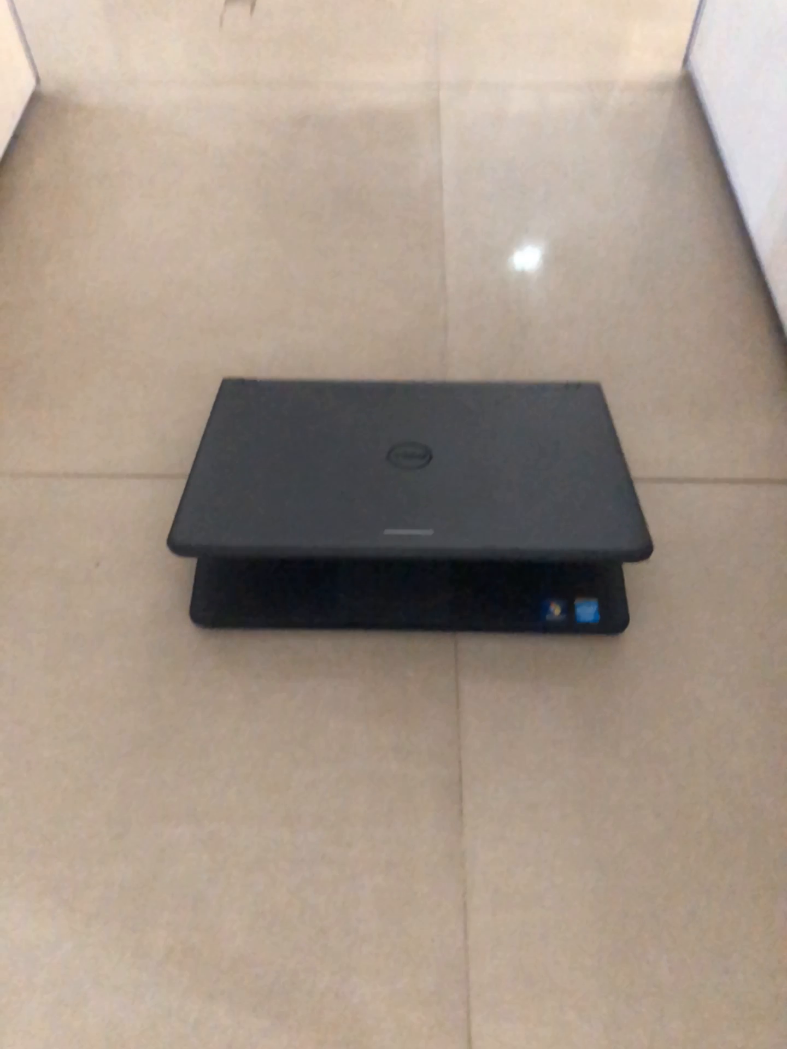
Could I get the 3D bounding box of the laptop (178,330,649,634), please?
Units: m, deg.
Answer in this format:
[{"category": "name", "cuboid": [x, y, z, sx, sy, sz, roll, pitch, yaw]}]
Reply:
[{"category": "laptop", "cuboid": [0.016, -0.038, 0.659, 0.314, 0.064, 0.221, 1, 61, 2]}]
